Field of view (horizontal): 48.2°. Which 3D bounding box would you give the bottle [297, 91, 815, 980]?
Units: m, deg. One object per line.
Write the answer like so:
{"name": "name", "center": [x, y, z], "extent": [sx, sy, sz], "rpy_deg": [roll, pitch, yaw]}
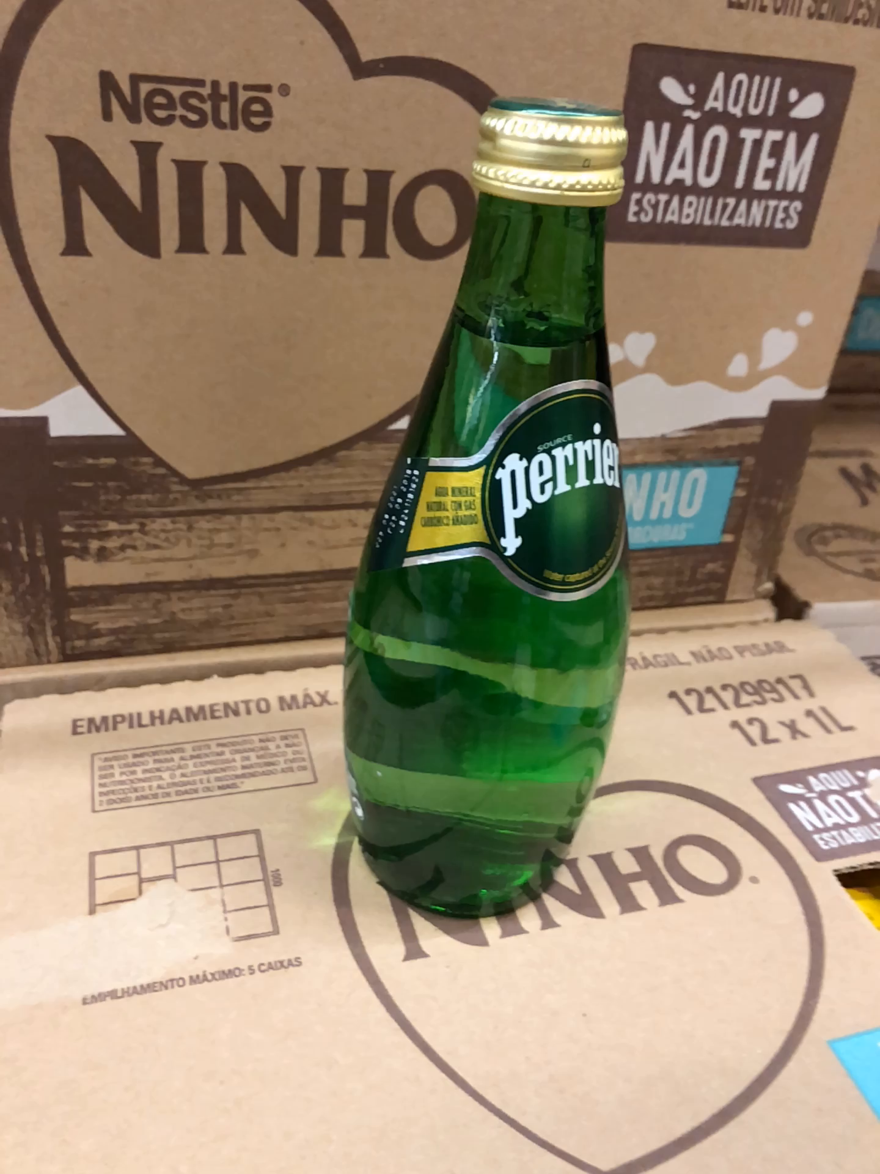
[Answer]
{"name": "bottle", "center": [0.014, -0.008, 0.223], "extent": [0.070, 0.179, 0.060], "rpy_deg": [-17, 37, -33]}
